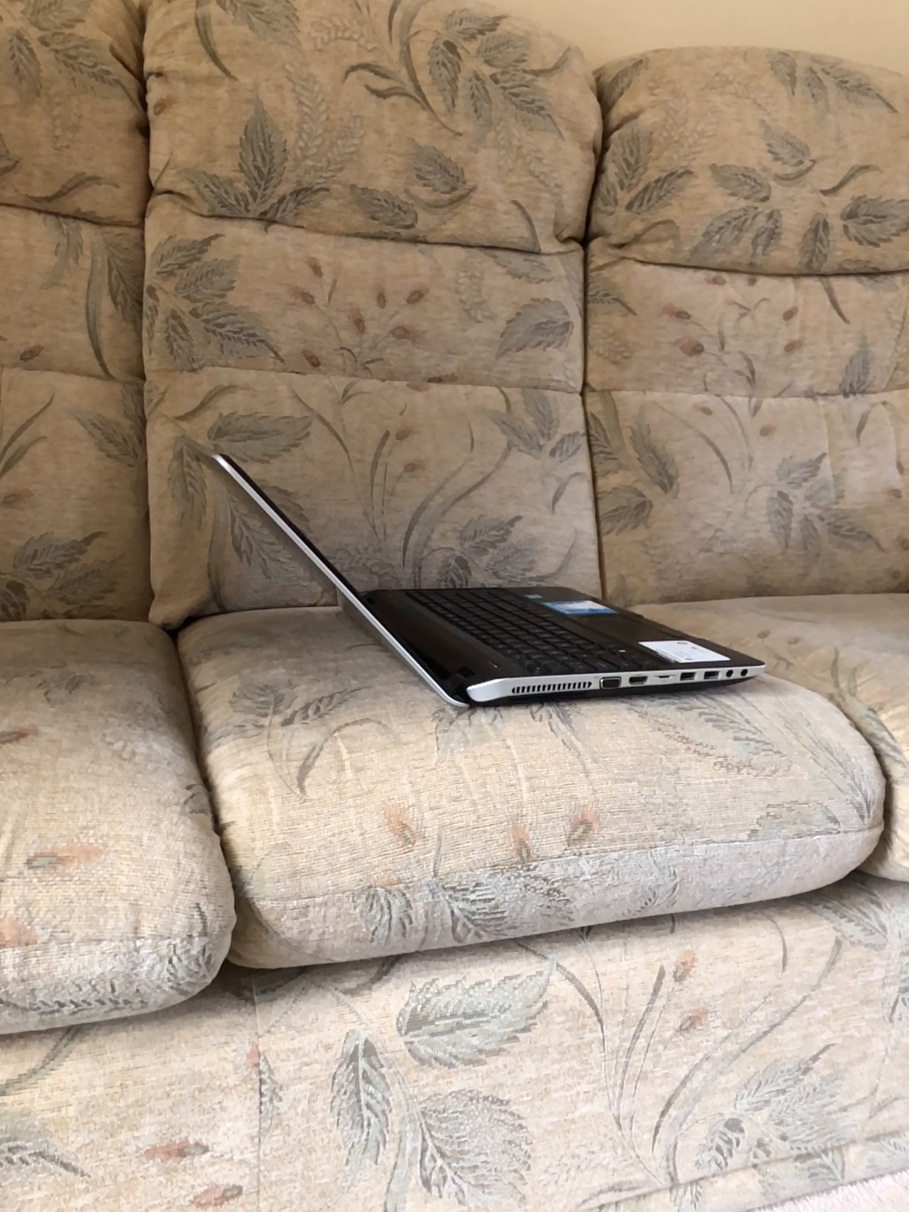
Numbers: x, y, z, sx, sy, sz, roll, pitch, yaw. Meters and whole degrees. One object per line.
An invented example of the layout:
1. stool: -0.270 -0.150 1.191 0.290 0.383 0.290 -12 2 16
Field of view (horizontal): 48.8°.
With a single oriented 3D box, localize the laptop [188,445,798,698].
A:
1. laptop: -0.006 -0.055 0.862 0.410 0.151 0.397 -2 11 -19
